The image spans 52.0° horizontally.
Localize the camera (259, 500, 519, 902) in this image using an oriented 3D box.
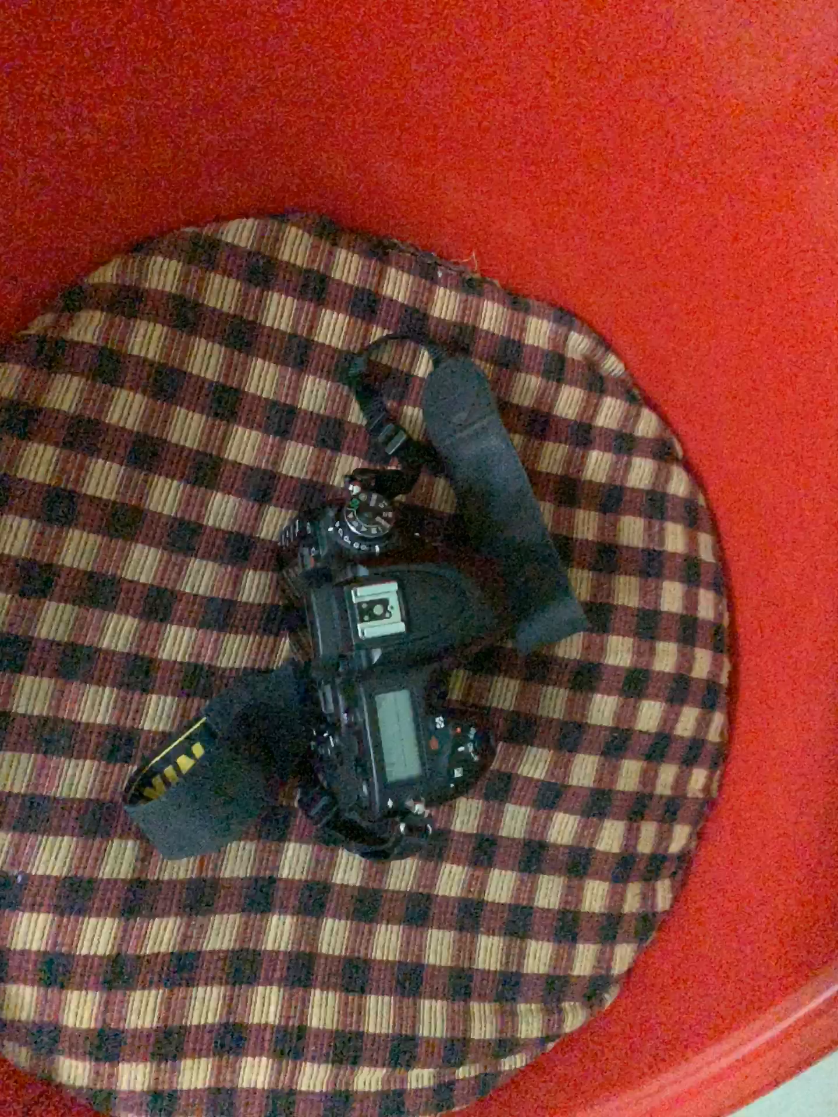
[{"bbox_3d":[-0.017,0.050,0.359,0.080,0.090,0.140,-4,91,-17],"label":"camera"}]
